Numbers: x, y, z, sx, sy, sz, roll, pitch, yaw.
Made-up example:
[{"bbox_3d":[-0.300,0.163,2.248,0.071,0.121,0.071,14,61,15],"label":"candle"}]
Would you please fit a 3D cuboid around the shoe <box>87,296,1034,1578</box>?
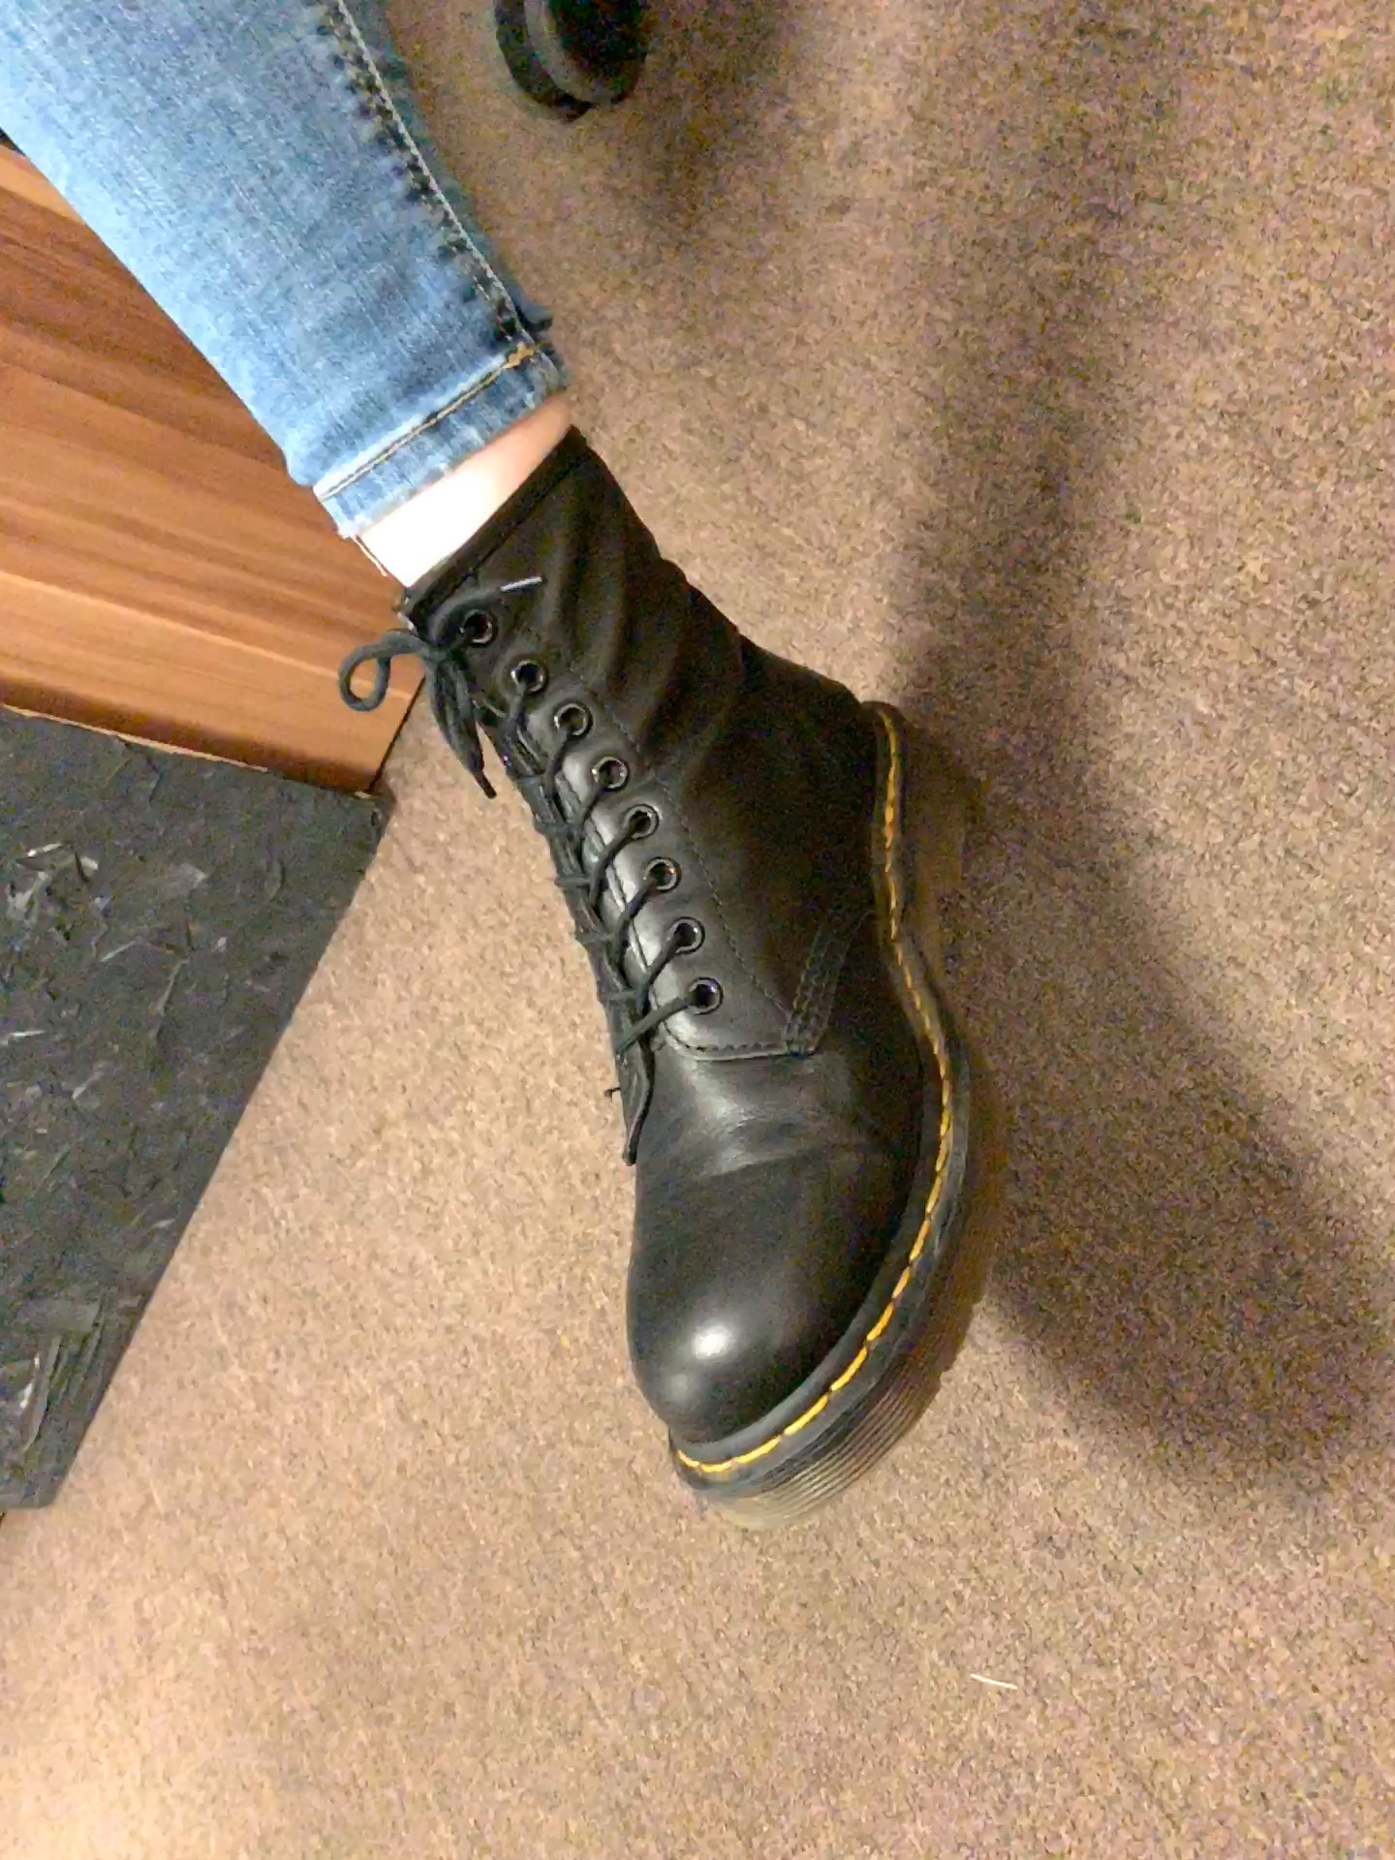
[{"bbox_3d":[-0.007,-0.011,0.383,0.121,0.149,0.290,-32,32,37],"label":"shoe"}]
